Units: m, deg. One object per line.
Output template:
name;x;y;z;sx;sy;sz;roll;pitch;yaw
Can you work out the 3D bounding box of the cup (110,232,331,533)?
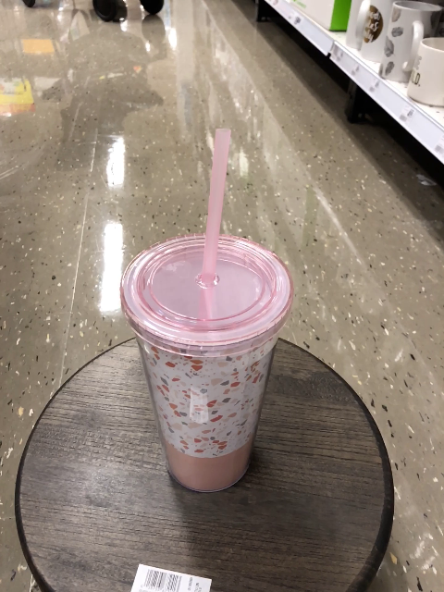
cup;-0.006;0.055;0.308;0.090;0.149;0.090;1;40;-1
